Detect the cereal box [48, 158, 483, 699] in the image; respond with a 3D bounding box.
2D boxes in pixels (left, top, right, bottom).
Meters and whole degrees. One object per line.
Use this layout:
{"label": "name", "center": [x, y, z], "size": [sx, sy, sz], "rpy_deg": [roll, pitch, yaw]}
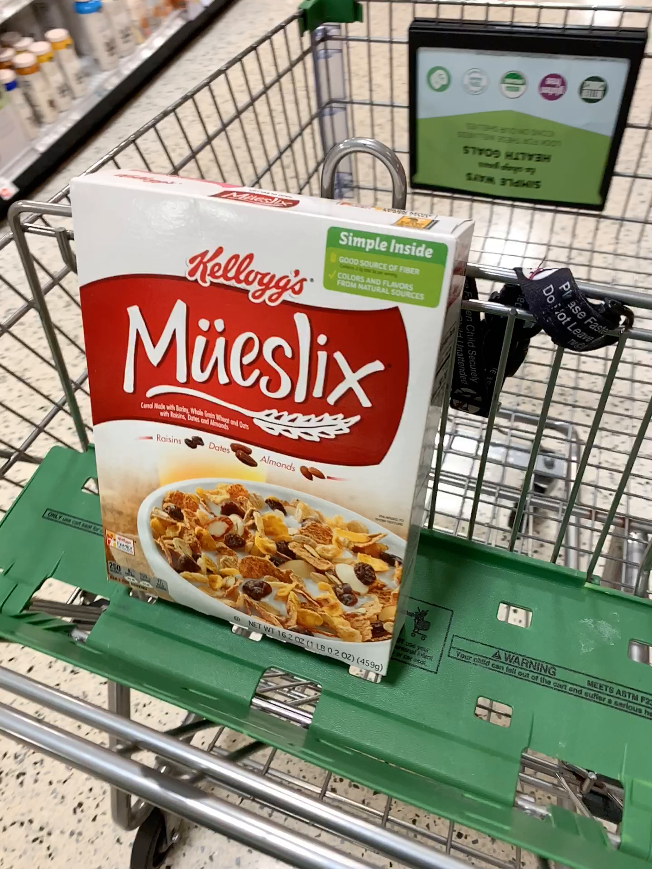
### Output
{"label": "cereal box", "center": [-0.040, 0.001, 0.383], "size": [0.200, 0.268, 0.060], "rpy_deg": [14, 29, 16]}
